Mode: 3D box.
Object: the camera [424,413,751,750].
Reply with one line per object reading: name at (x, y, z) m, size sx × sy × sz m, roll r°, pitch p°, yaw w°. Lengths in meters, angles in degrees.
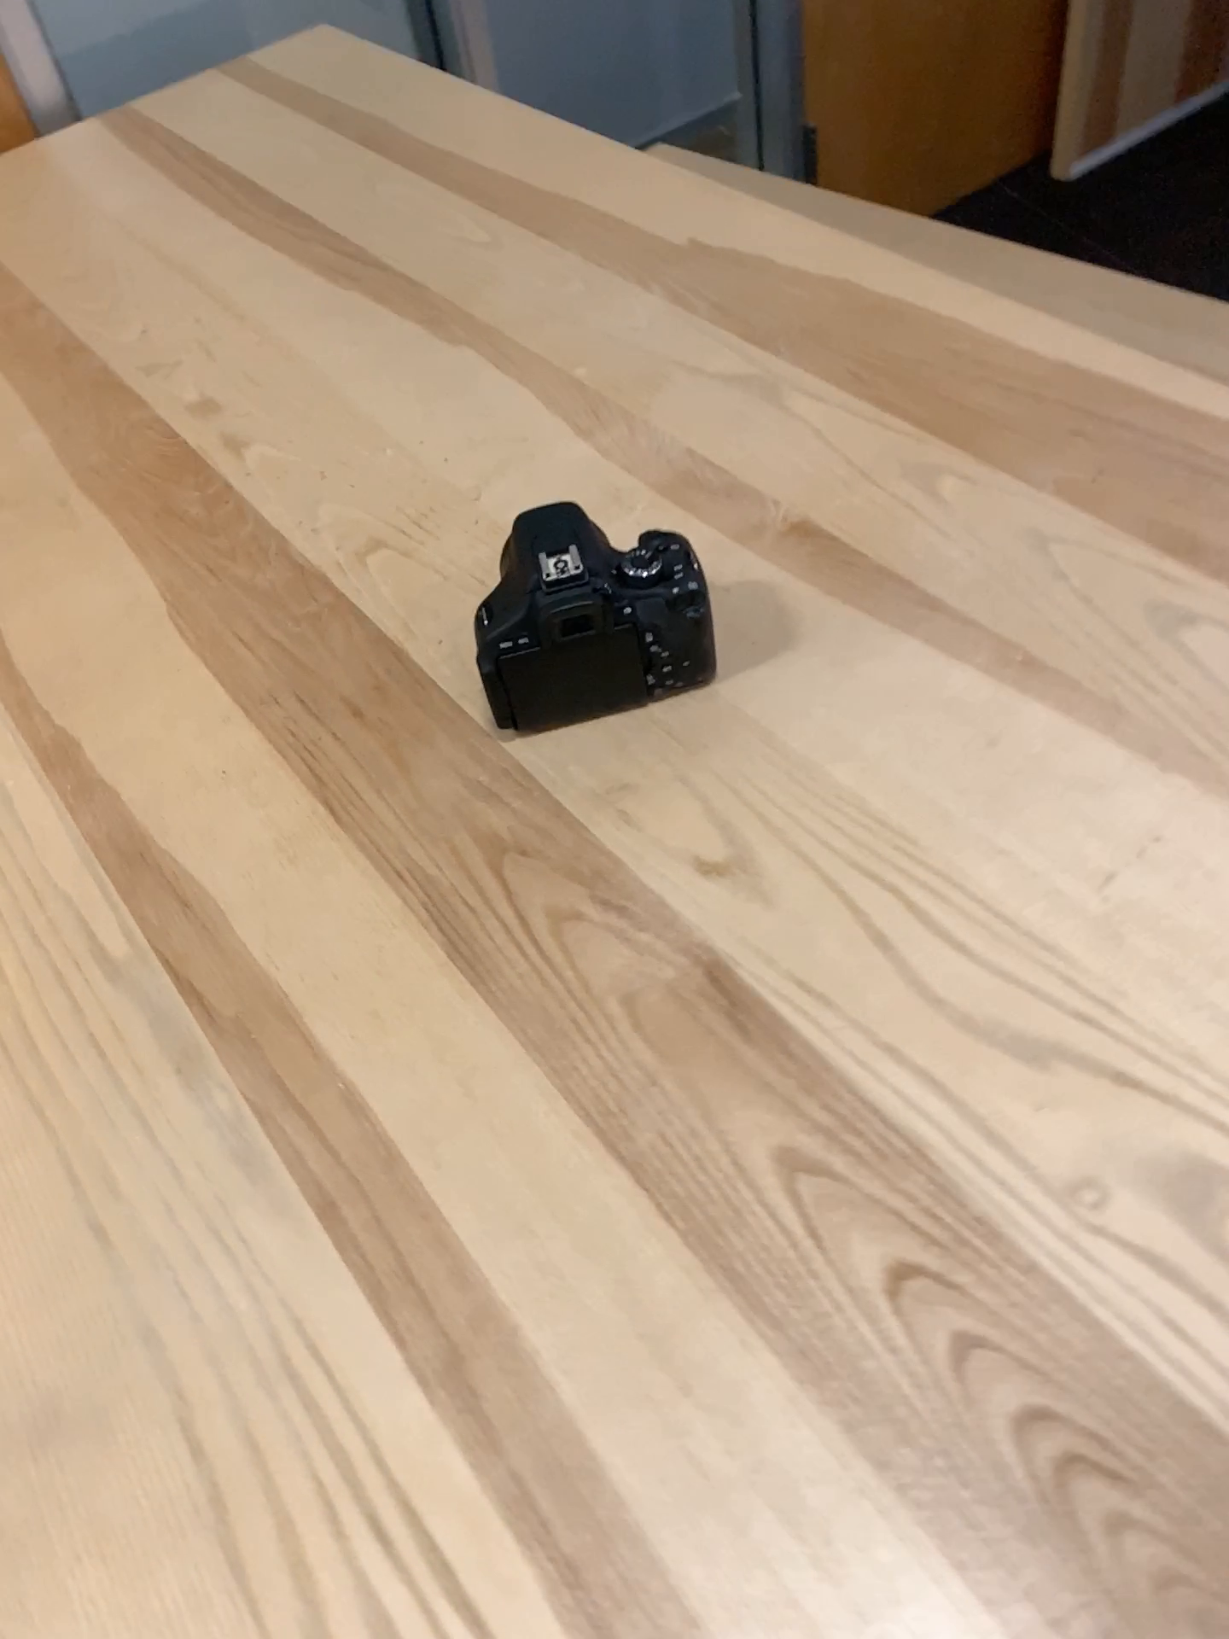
camera at (-0.015, -0.132, 0.692) m, size 0.145 × 0.100 × 0.121 m, roll -15°, pitch 48°, yaw -3°
